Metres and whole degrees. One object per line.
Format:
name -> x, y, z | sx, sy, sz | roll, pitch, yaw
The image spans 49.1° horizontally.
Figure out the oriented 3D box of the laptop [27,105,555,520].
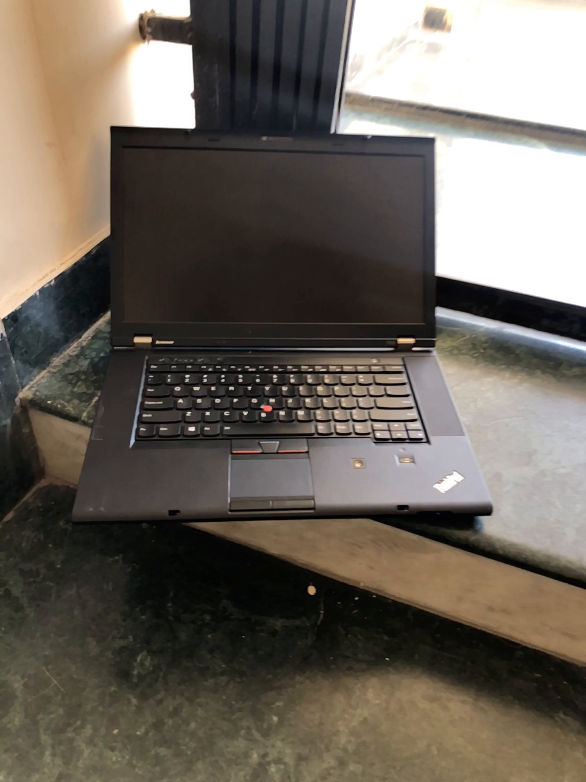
laptop -> -0.012, -0.102, 0.628 | 0.359, 0.181, 0.390 | 0, 43, -5
